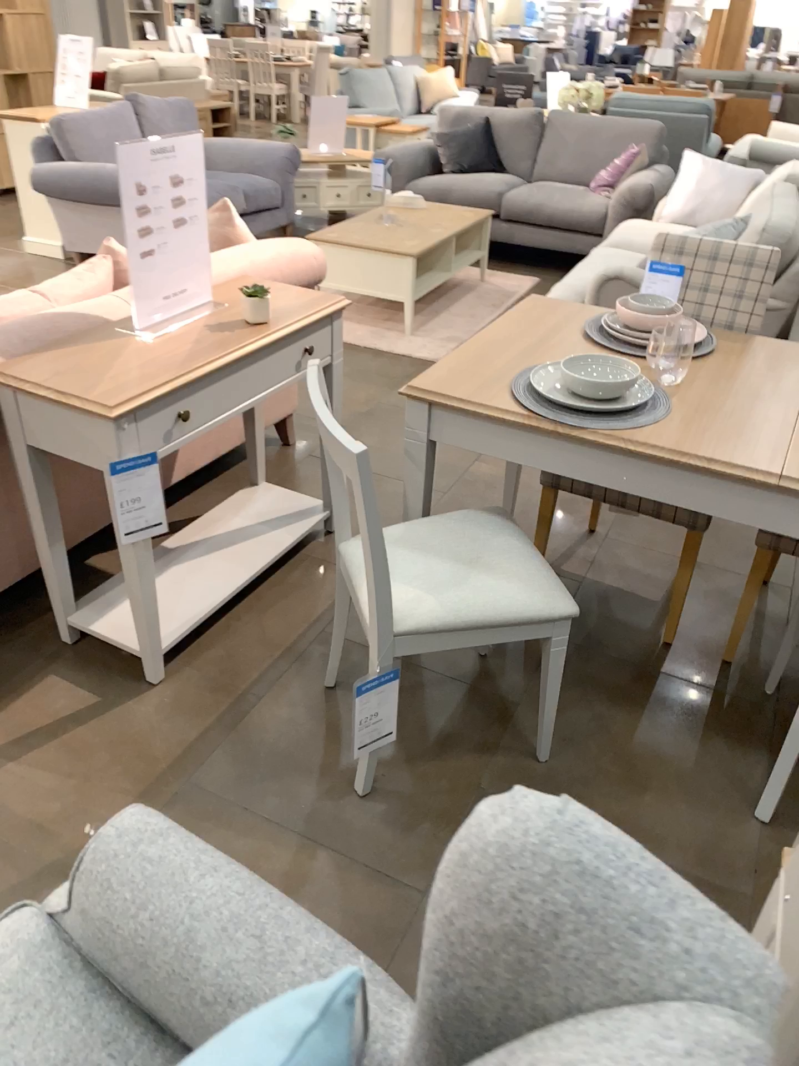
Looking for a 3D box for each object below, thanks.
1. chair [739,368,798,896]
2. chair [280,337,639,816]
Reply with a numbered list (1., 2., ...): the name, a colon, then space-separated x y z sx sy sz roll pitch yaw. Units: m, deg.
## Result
1. chair: 1.051 0.180 1.650 0.431 0.817 0.539 16 34 20
2. chair: 0.069 0.079 1.706 0.535 0.817 0.464 -7 33 -15
